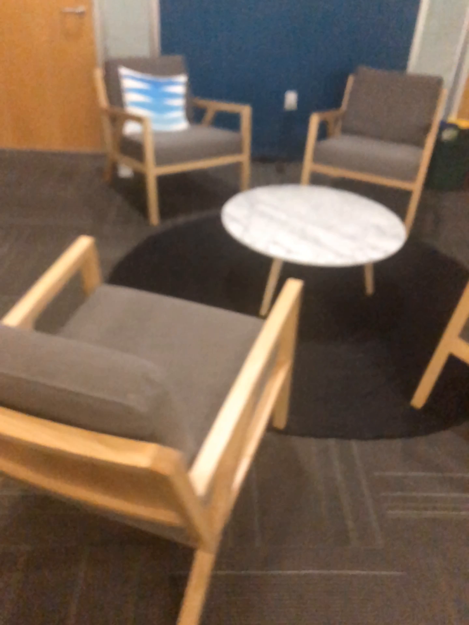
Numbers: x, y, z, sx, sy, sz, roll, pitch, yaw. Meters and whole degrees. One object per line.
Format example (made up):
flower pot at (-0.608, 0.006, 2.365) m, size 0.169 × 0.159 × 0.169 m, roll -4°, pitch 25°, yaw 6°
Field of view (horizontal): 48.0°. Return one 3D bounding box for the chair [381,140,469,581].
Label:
chair at (1.109, 0.056, 1.596) m, size 0.724 × 0.753 × 0.872 m, roll -27°, pitch 50°, yaw -36°

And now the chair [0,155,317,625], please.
chair at (-0.288, 0.180, 1.308) m, size 0.720 × 0.773 × 0.807 m, roll 14°, pitch 39°, yaw 15°
